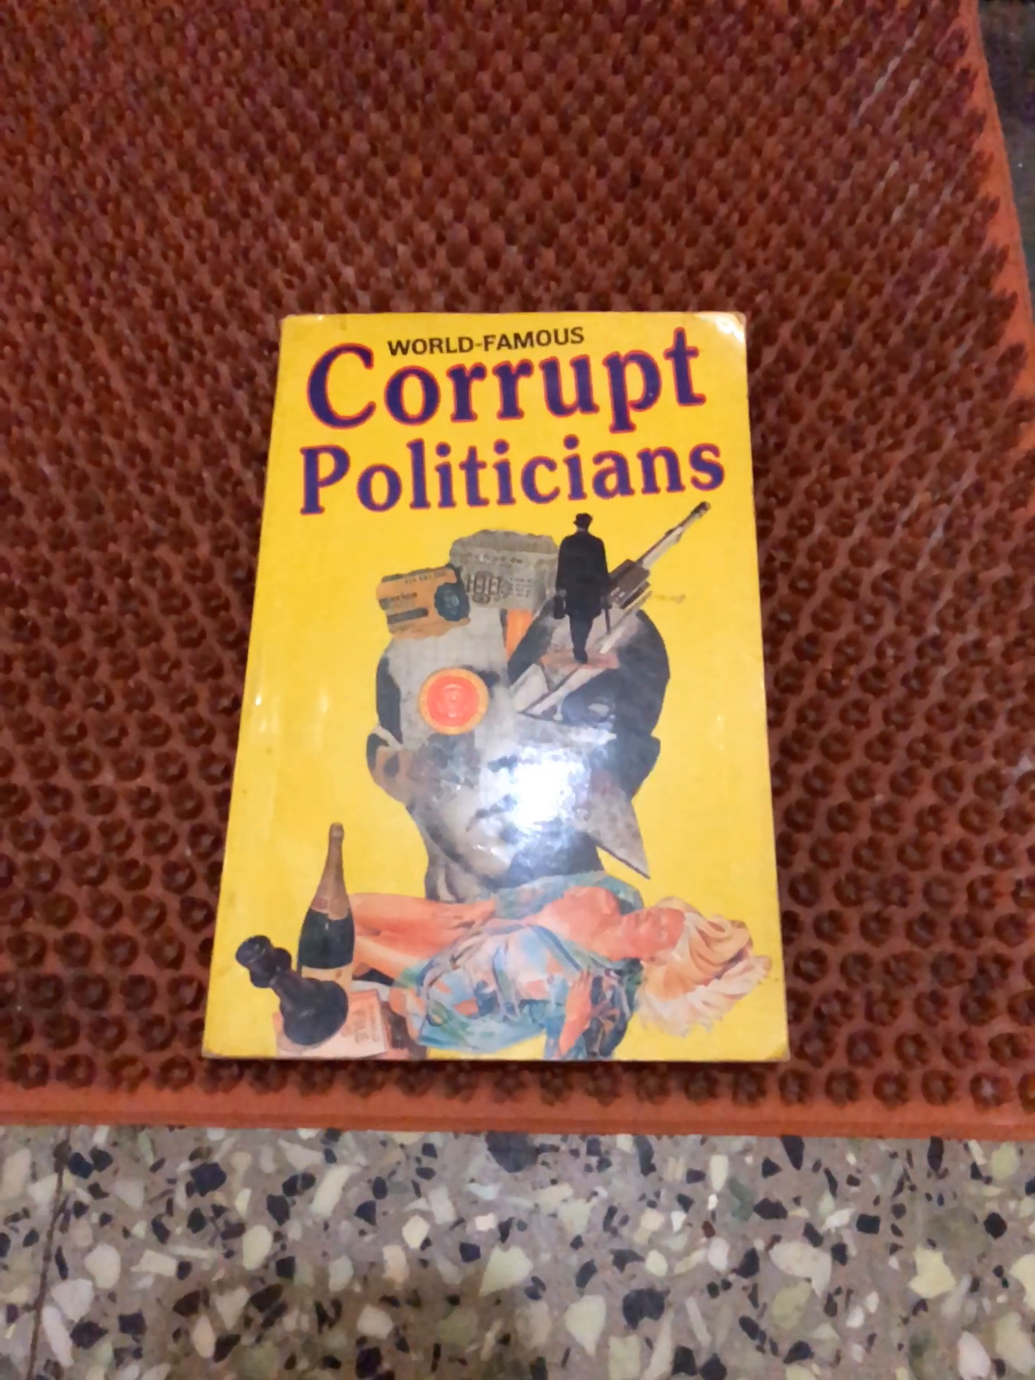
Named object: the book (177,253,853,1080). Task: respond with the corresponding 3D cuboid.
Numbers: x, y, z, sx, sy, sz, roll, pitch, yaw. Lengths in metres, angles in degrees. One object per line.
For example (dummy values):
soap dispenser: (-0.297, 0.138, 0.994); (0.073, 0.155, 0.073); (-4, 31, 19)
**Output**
book: (0.001, -0.019, 0.308); (0.150, 0.020, 0.230); (1, 68, 0)
